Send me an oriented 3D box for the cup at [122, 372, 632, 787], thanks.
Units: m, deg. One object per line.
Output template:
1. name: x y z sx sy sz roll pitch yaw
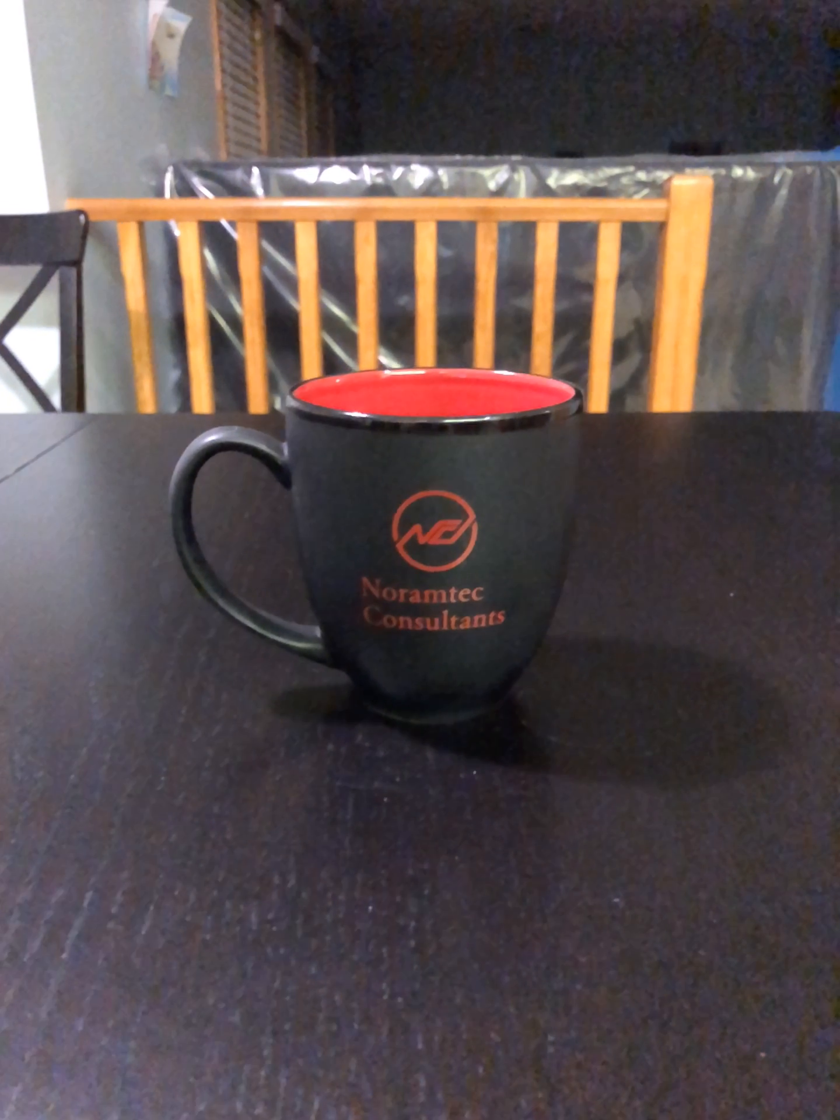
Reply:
1. cup: -0.015 -0.001 0.322 0.140 0.110 0.100 -2 19 -5
